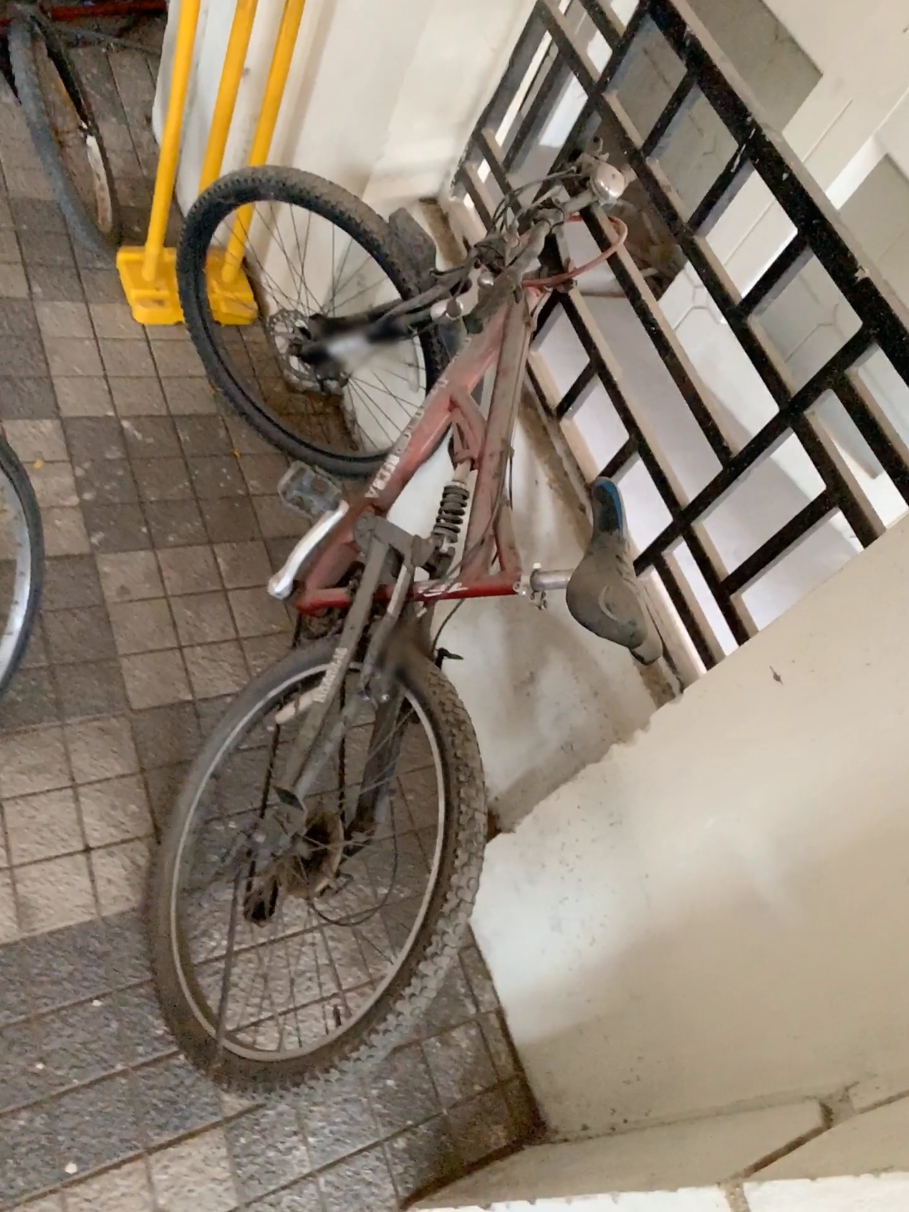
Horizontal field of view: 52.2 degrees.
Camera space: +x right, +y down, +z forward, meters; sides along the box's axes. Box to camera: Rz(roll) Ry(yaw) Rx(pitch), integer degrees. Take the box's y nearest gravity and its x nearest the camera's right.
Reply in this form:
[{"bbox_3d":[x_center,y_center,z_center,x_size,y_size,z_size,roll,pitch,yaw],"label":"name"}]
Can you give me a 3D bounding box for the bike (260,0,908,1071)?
[{"bbox_3d":[0.116,-0.182,1.472,0.608,0.832,1.467,3,65,-25],"label":"bike"}]
